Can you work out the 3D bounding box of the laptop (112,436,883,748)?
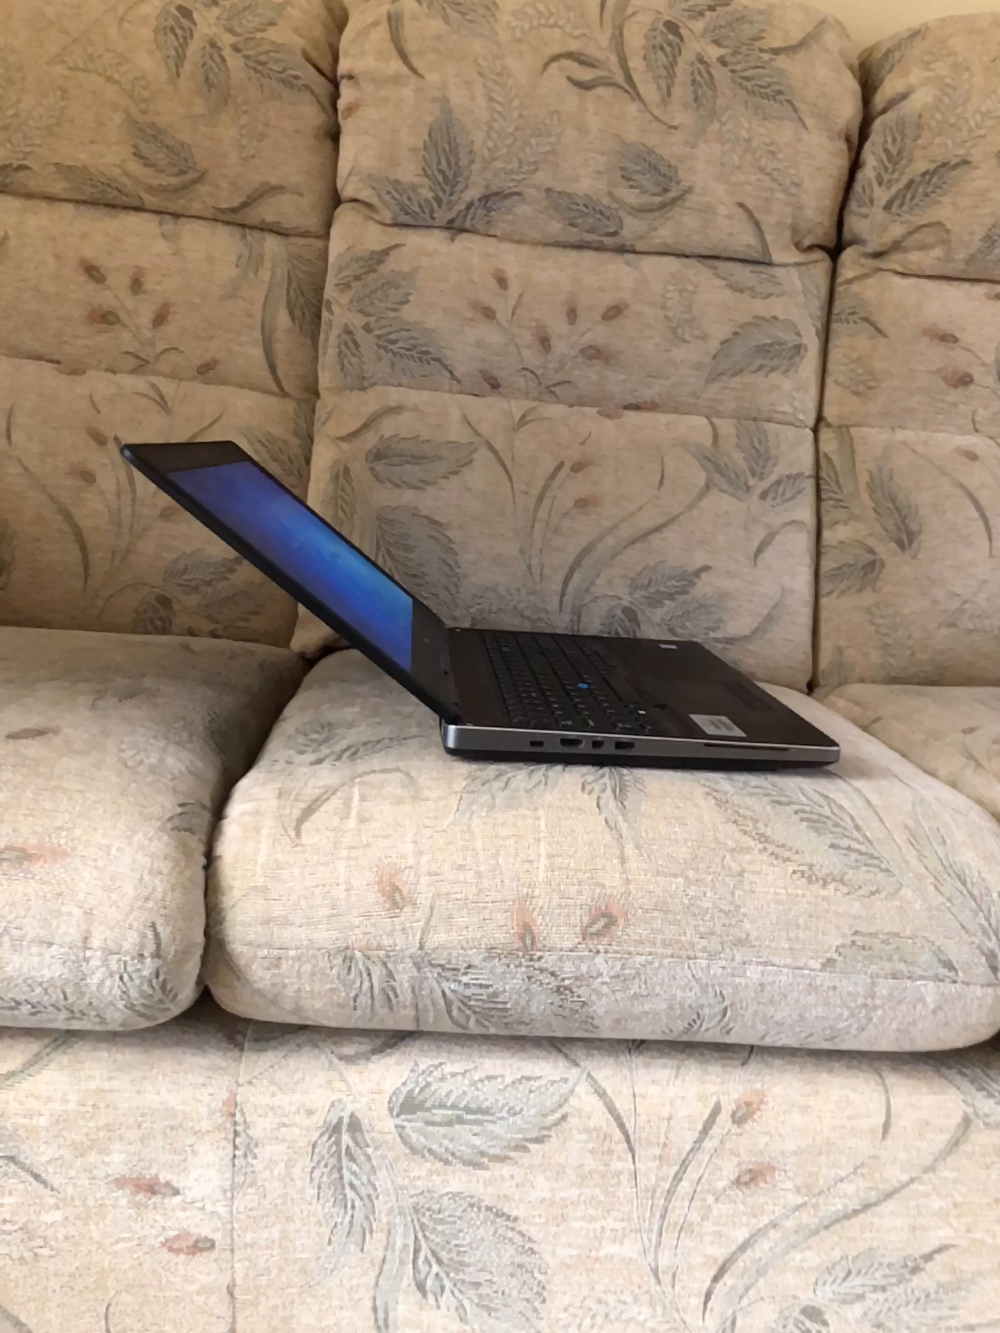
[{"bbox_3d":[-0.015,-0.075,0.841,0.451,0.157,0.356,3,14,-5],"label":"laptop"}]
